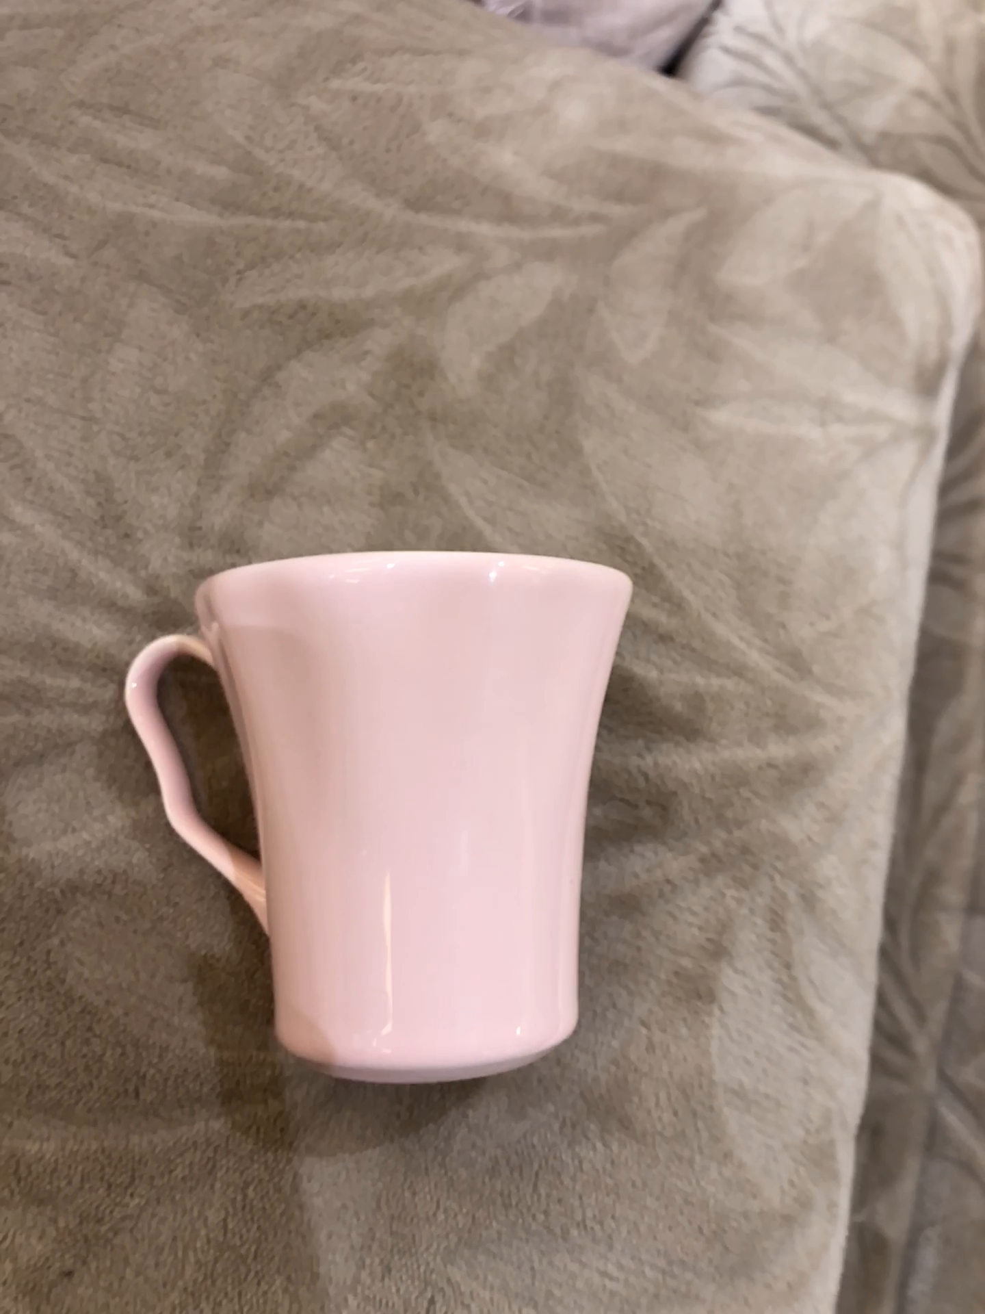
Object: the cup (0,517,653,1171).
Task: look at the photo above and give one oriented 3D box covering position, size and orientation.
[{"bbox_3d":[-0.030,0.032,0.202,0.100,0.070,0.090,-6,82,18],"label":"cup"}]
